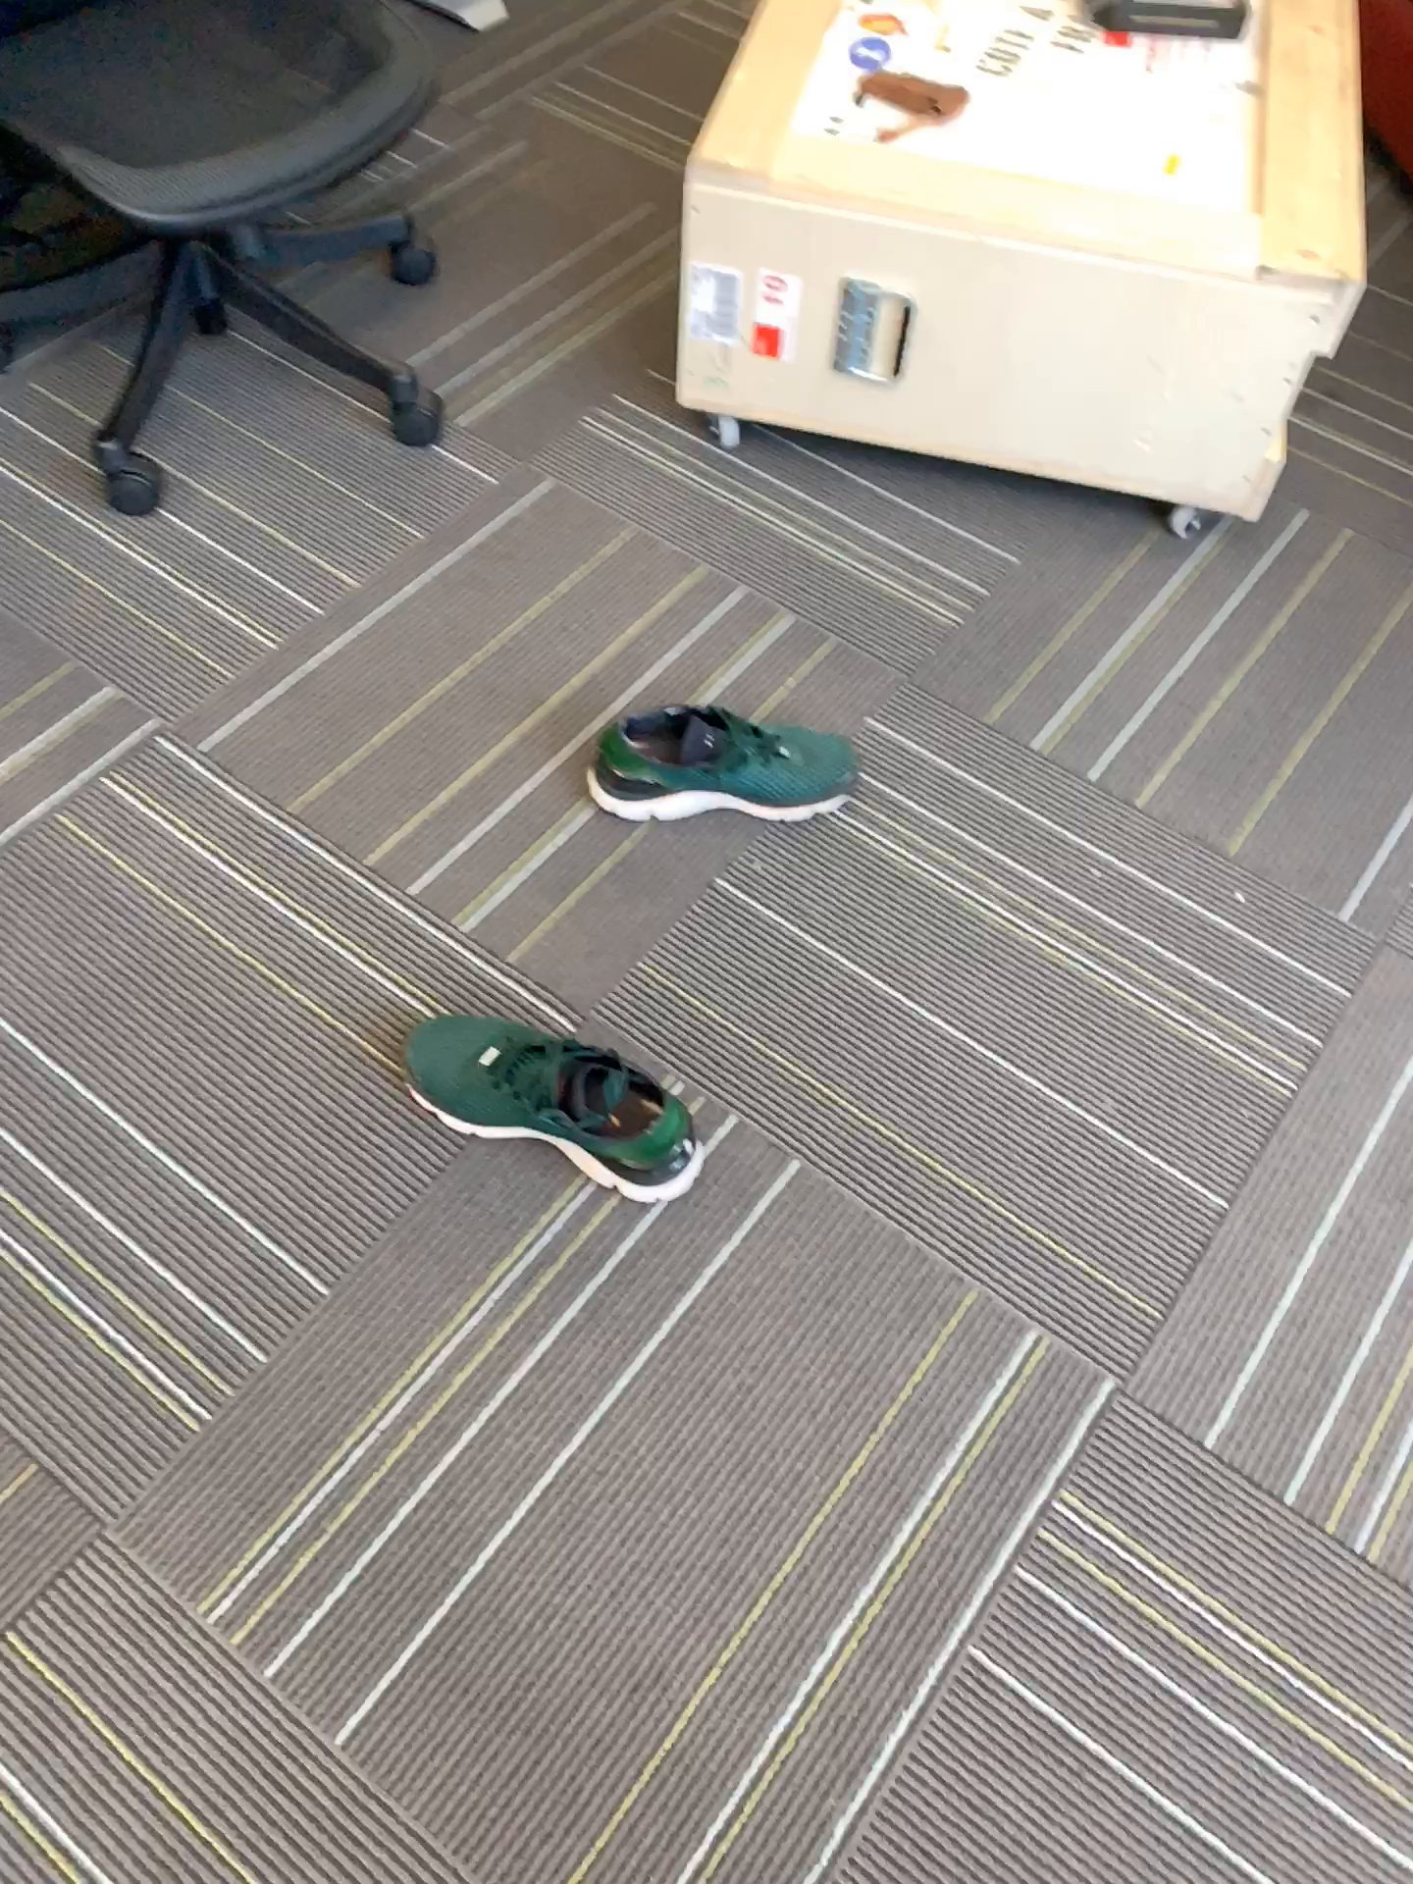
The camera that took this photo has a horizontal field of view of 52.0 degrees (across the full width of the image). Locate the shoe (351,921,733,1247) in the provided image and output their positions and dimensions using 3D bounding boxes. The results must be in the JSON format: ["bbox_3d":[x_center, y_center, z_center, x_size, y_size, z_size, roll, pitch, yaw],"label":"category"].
[{"bbox_3d":[-0.147,0.129,1.326,0.310,0.140,0.130,24,58,12],"label":"shoe"}]

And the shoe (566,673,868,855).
[{"bbox_3d":[0.005,-0.196,1.595,0.310,0.140,0.130,-3,57,-5],"label":"shoe"}]
